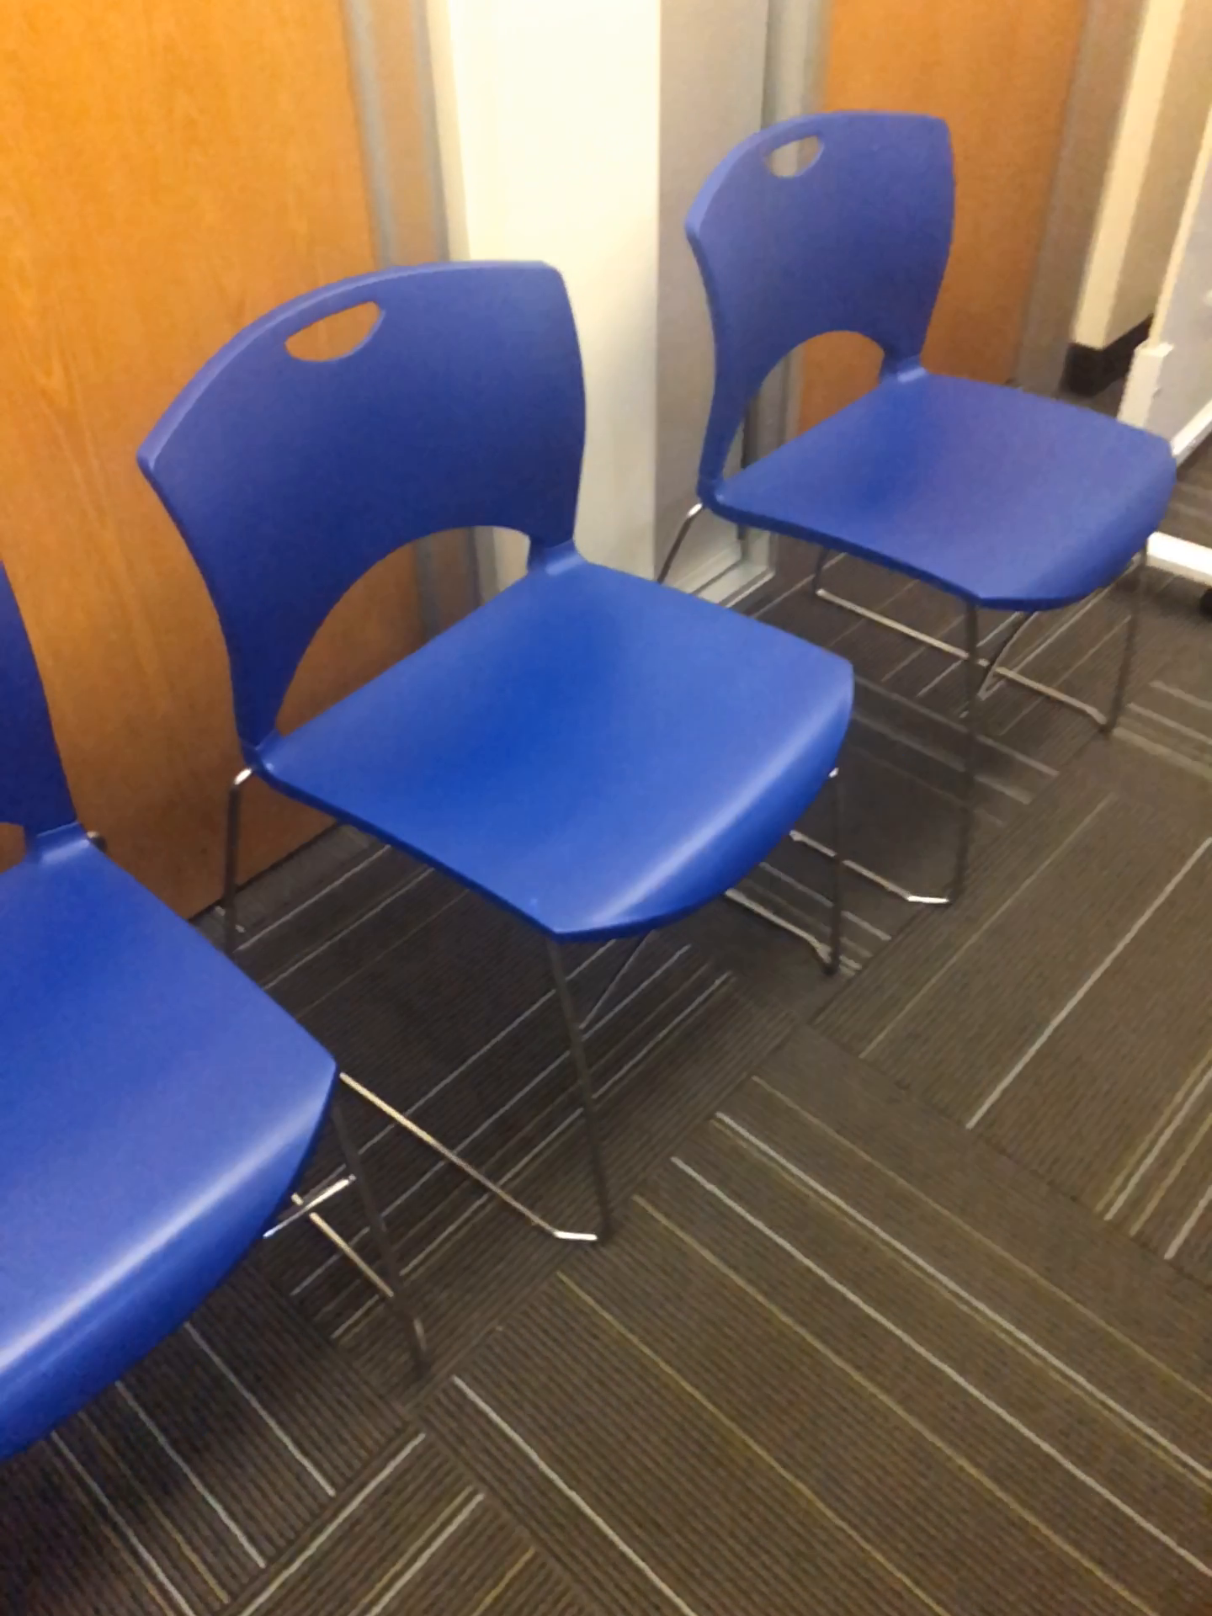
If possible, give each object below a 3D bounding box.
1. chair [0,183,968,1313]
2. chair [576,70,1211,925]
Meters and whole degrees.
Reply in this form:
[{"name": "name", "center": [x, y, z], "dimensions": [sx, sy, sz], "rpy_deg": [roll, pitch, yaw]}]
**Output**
[{"name": "chair", "center": [-0.105, -0.074, 1.385], "dimensions": [0.631, 0.853, 0.524], "rpy_deg": [29, 49, 30]}, {"name": "chair", "center": [0.375, -0.411, 1.691], "dimensions": [0.591, 0.773, 0.544], "rpy_deg": [30, 49, 31]}]
